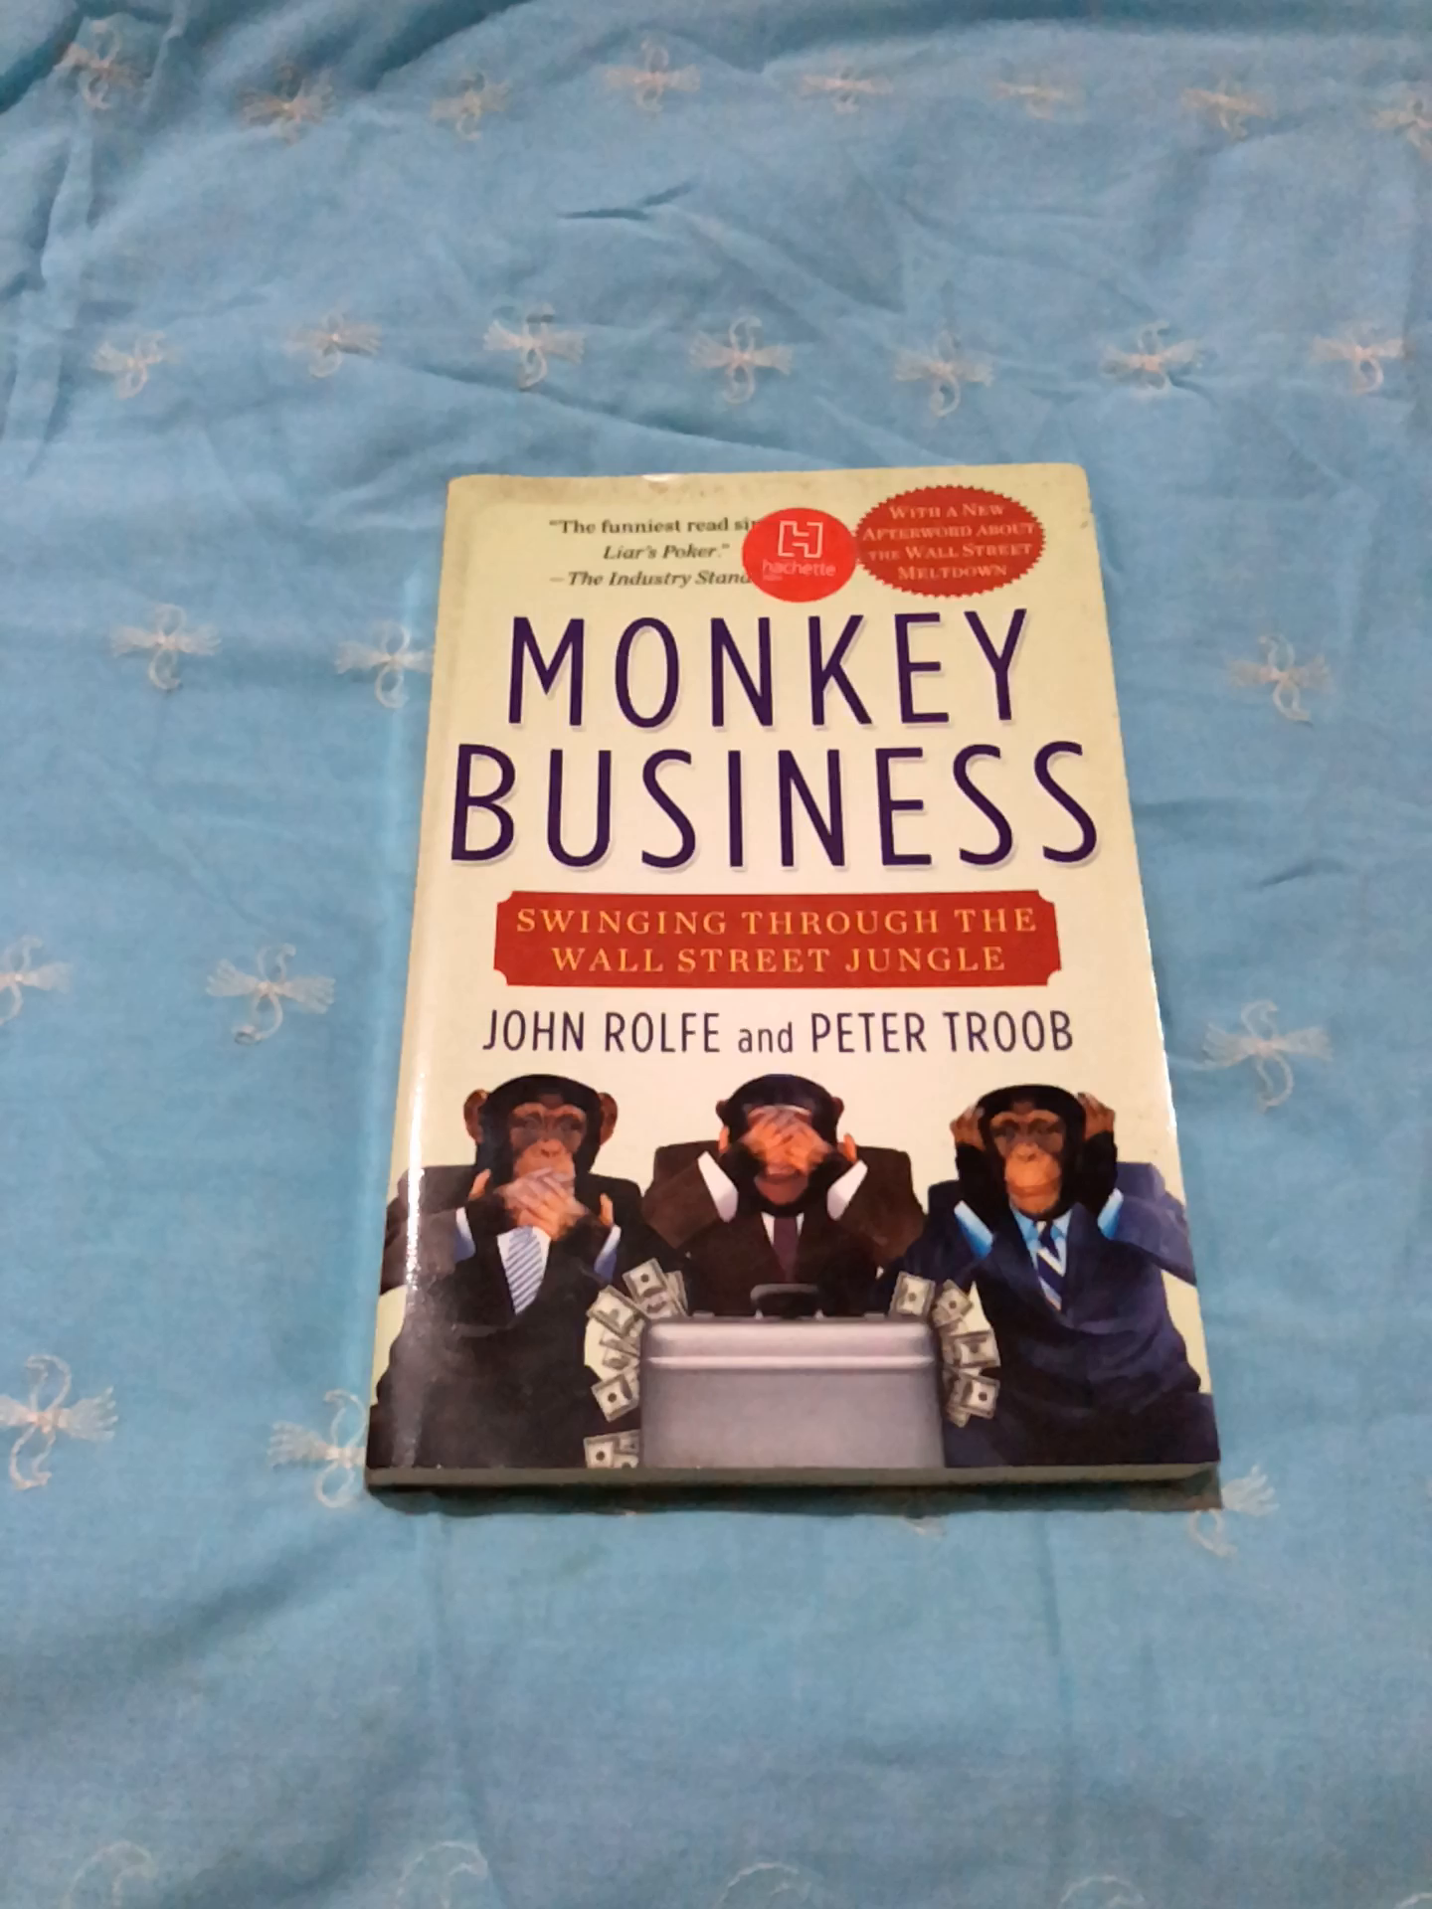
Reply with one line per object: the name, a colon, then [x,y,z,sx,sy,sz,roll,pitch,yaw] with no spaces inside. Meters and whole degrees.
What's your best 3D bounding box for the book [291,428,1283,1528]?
book: [0.014,-0.007,0.345,0.170,0.040,0.240,1,64,0]
